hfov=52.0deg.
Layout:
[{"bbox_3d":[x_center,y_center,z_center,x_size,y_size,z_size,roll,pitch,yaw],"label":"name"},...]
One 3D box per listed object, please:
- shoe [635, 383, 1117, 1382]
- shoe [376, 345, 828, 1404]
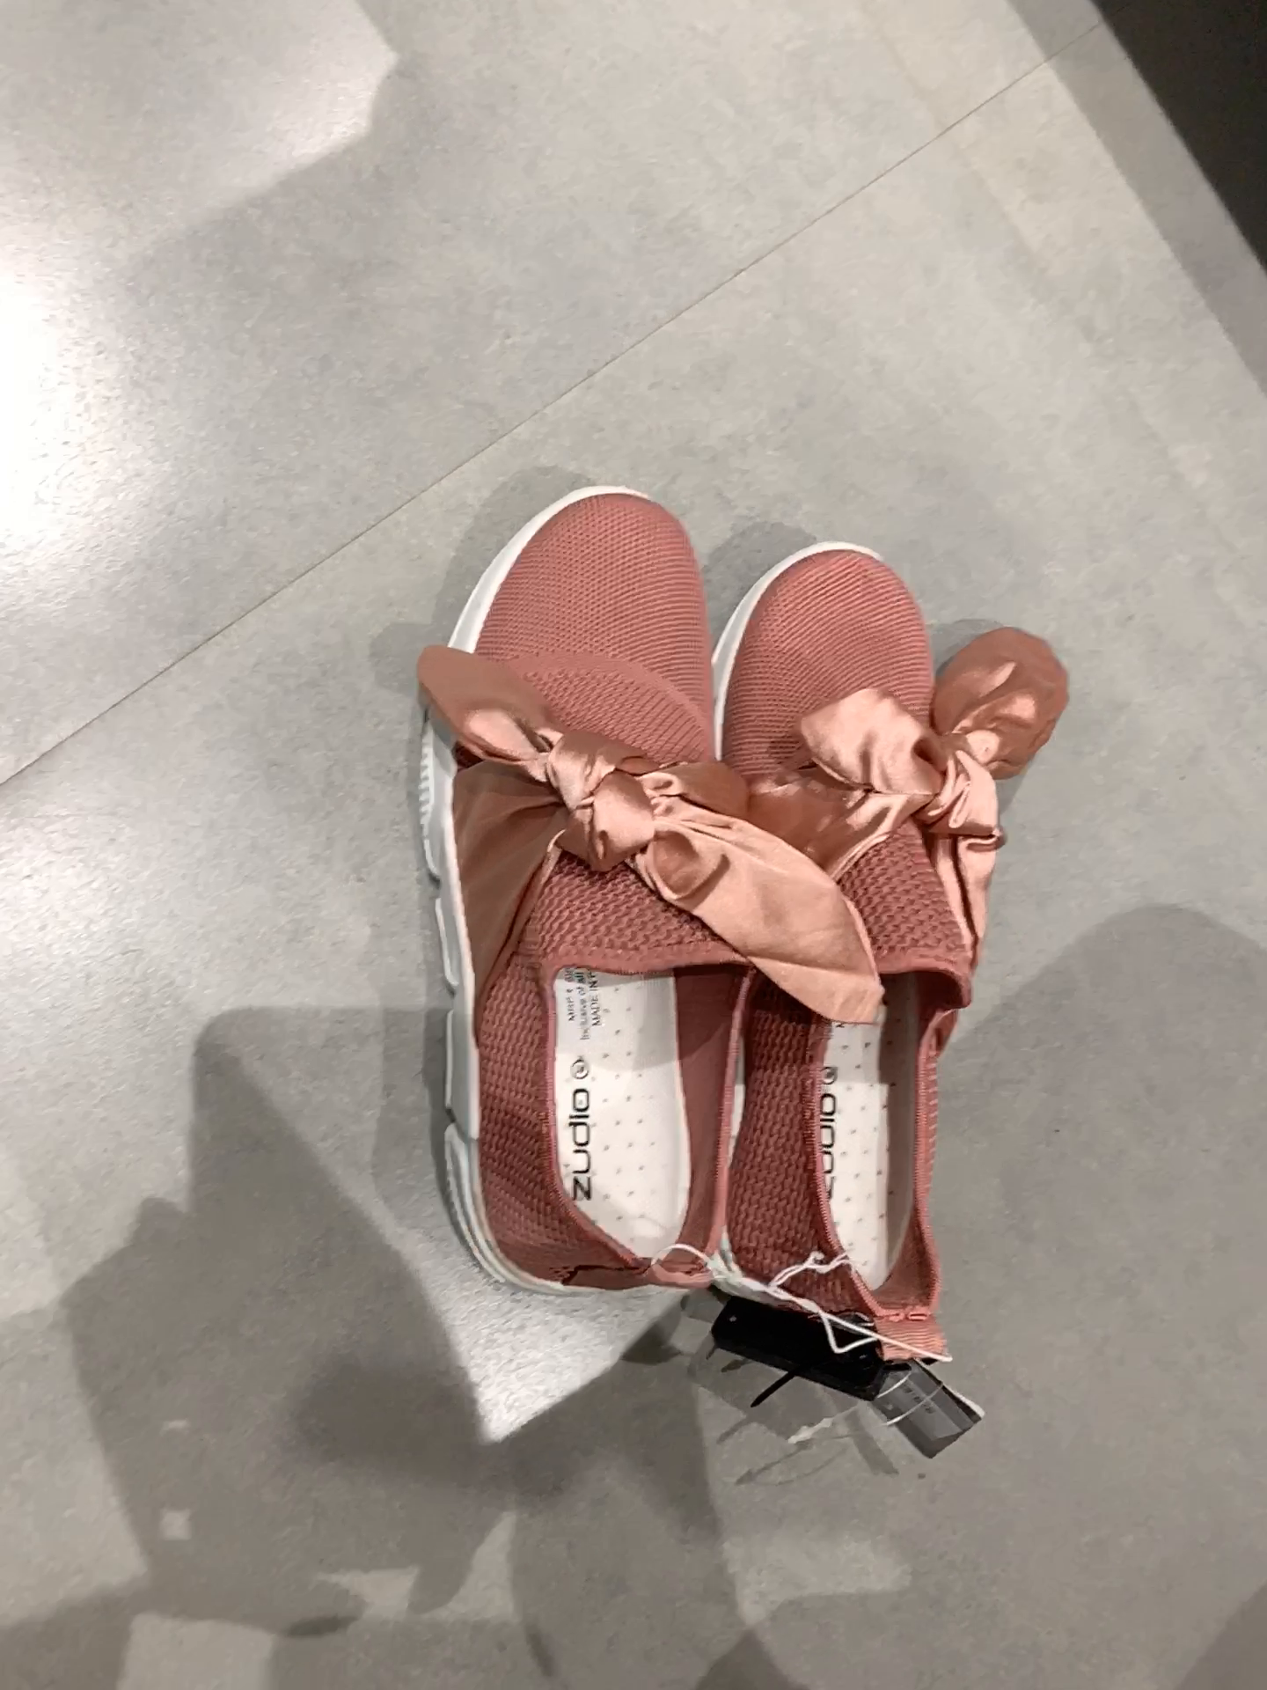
[{"bbox_3d":[0.070,0.011,0.416,0.110,0.100,0.270,1,86,-18],"label":"shoe"},{"bbox_3d":[-0.016,0.008,0.395,0.110,0.100,0.270,1,86,-18],"label":"shoe"}]
